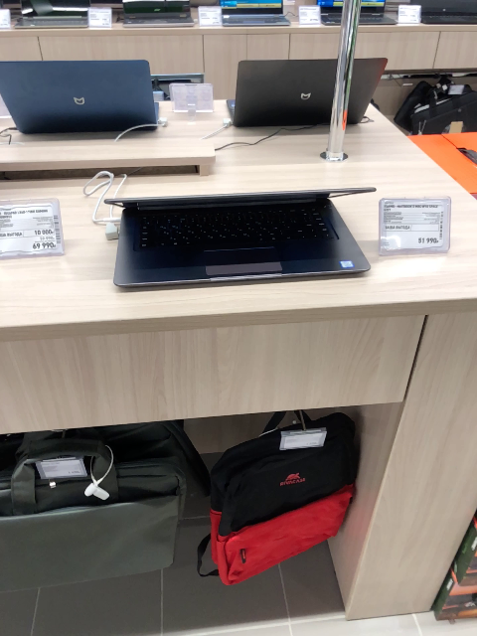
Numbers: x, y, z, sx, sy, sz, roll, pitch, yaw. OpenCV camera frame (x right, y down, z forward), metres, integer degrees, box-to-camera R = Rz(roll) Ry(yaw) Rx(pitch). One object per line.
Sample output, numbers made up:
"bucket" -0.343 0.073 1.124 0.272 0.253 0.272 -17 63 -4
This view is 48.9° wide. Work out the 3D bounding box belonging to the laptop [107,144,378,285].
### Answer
"laptop" -0.004 -0.164 0.778 0.344 0.099 0.222 -4 38 -6
